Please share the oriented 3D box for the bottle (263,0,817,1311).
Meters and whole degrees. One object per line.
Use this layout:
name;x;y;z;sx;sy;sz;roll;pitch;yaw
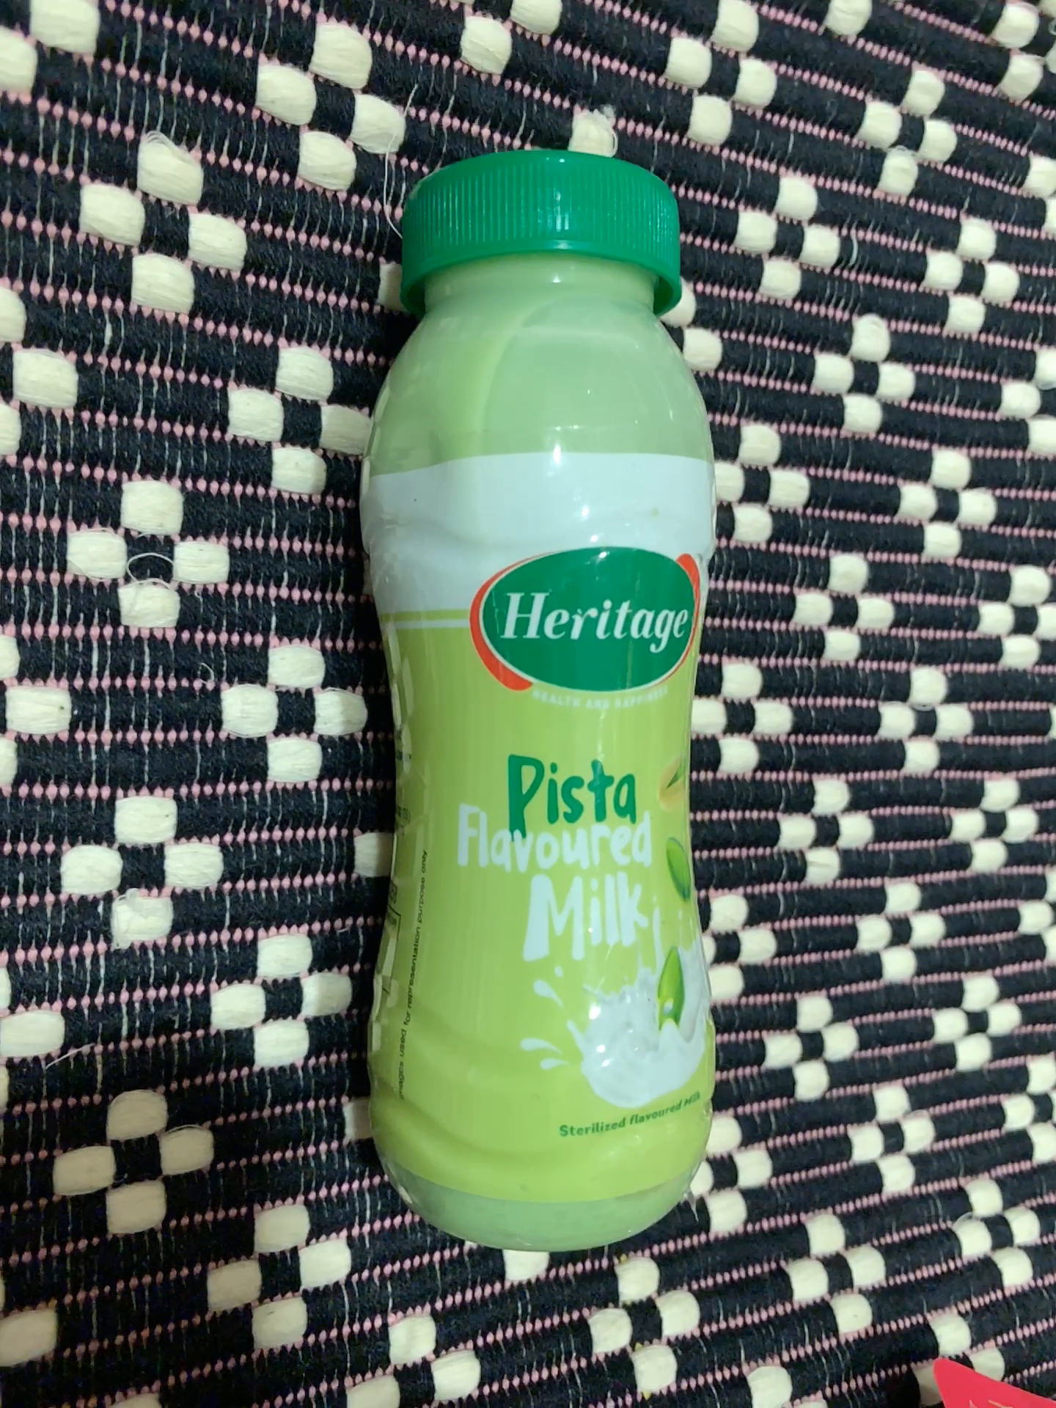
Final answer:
bottle;0.000;-0.012;0.149;0.050;0.050;0.150;-3;92;-29
